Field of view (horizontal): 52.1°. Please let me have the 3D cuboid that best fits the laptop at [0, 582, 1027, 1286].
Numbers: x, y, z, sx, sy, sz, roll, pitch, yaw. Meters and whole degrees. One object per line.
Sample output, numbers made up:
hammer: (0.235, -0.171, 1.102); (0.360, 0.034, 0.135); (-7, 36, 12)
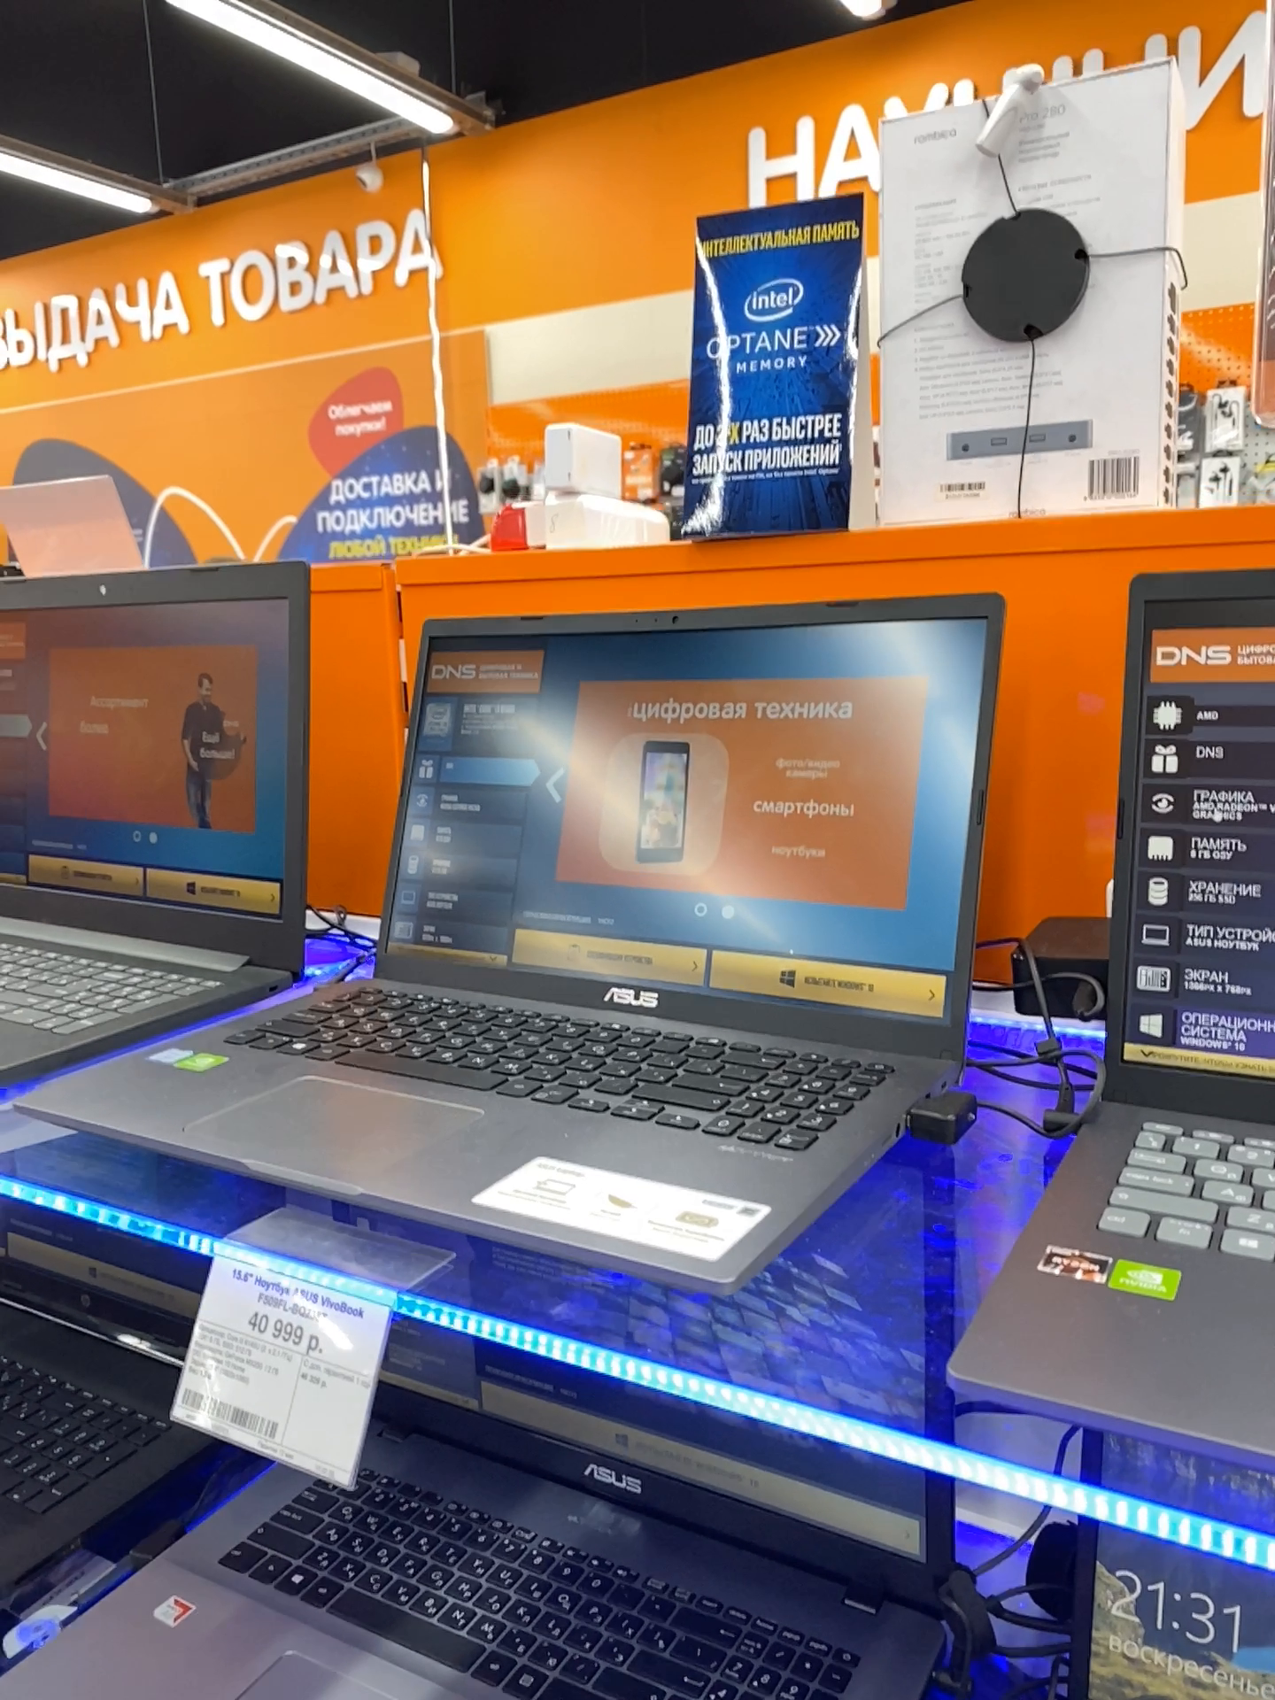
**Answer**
laptop: (-0.042, -0.006, 0.604); (0.358, 0.211, 0.306); (4, 11, 30)
